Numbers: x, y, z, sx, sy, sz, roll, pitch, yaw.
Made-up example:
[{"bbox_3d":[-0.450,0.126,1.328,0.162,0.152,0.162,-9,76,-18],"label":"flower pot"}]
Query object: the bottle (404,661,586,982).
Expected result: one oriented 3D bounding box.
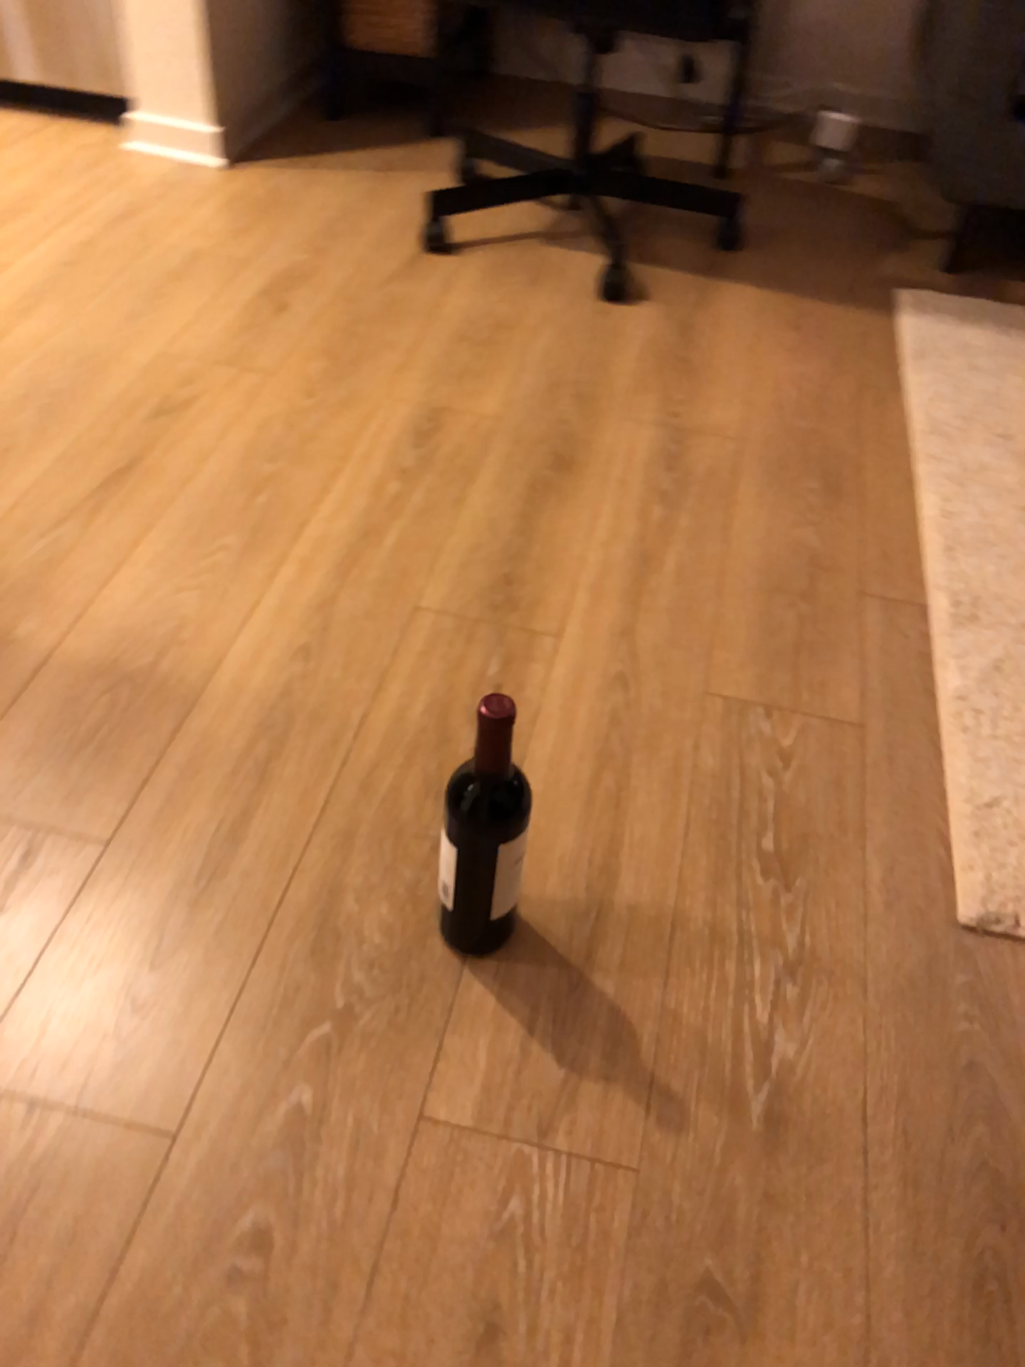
[{"bbox_3d":[-0.021,0.125,0.992,0.100,0.259,0.111,24,46,17],"label":"bottle"}]
